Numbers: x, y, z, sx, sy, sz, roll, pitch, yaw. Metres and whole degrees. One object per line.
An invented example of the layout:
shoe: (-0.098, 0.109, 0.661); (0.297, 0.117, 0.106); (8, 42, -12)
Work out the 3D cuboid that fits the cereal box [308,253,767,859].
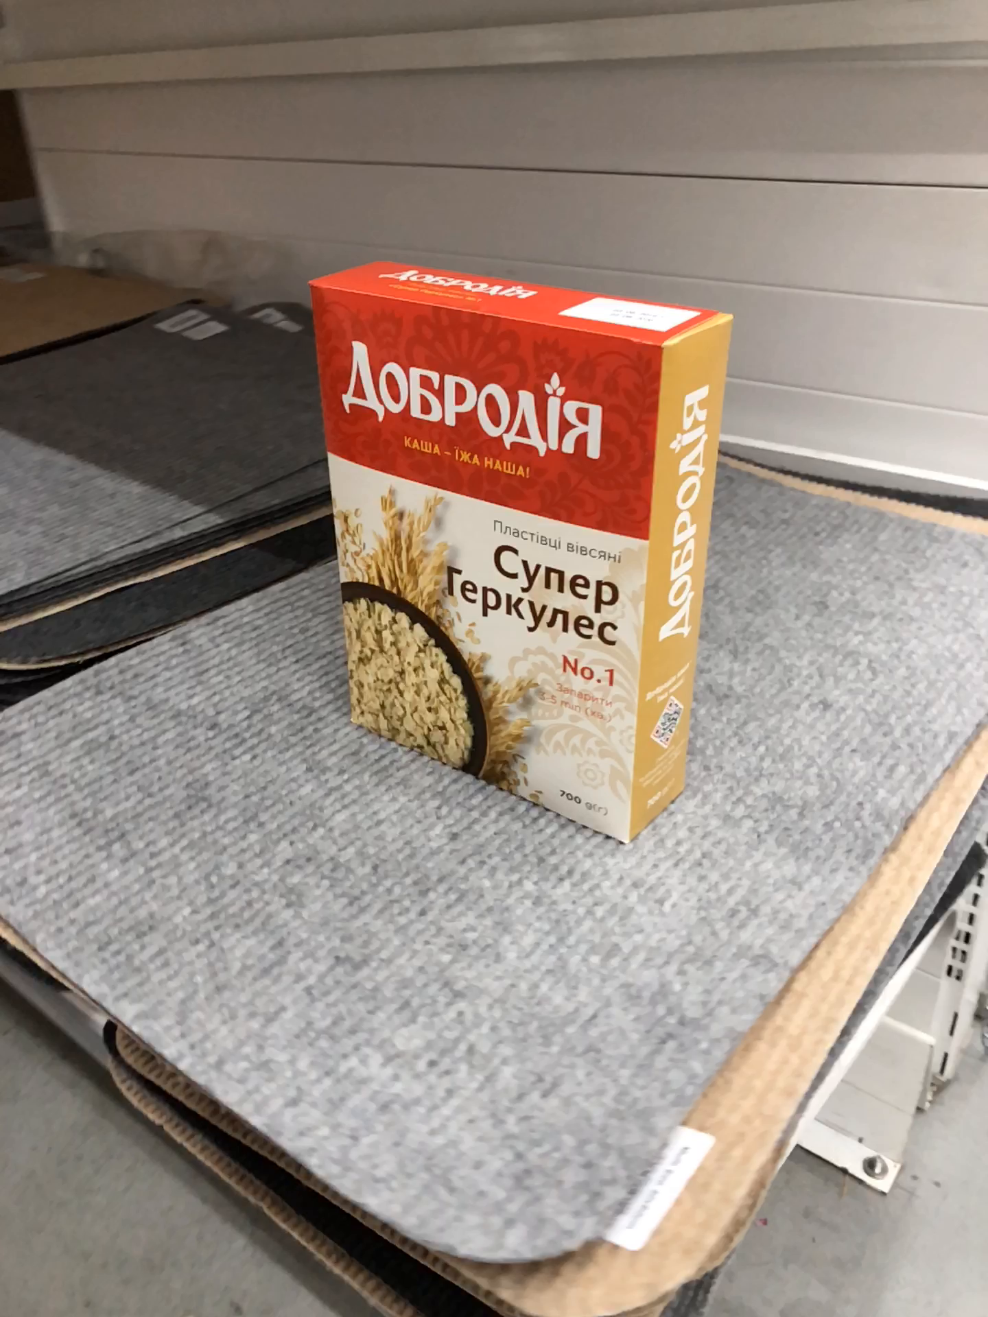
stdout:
cereal box: (0.014, -0.049, 0.491); (0.180, 0.228, 0.060); (20, 36, 31)
